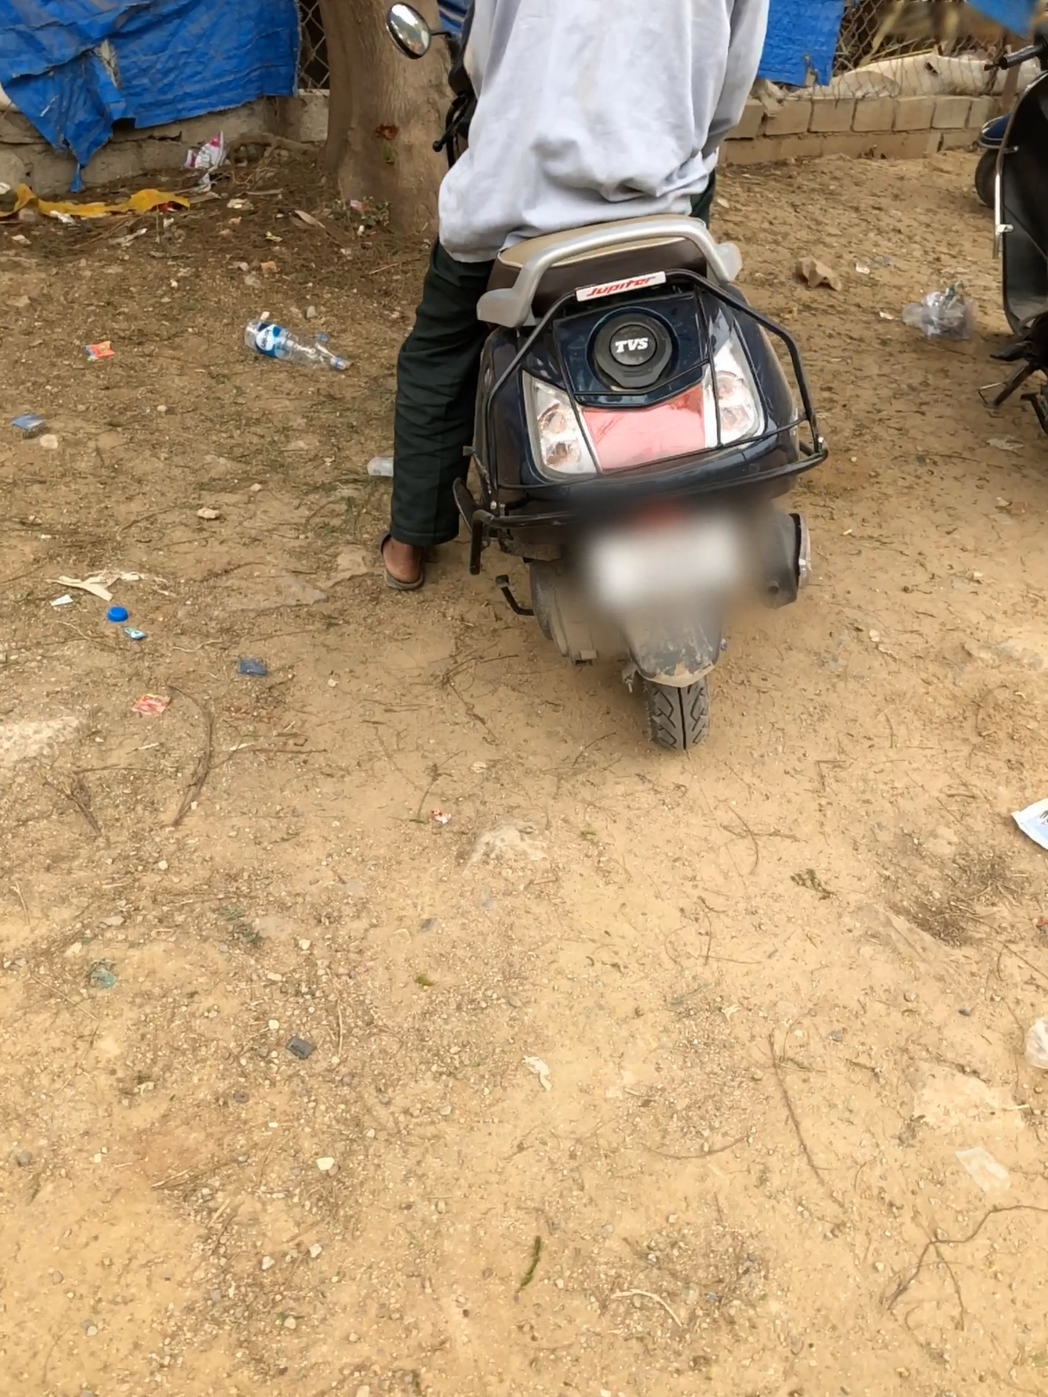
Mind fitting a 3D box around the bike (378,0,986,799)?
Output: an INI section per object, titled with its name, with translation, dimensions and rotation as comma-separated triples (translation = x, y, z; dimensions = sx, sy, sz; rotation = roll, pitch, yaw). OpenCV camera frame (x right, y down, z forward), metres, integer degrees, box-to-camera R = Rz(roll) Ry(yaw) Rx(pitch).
[bike]
translation = 0.107, -0.831, 1.993
dimensions = 0.634, 1.119, 1.351
rotation = 3, 41, -5
